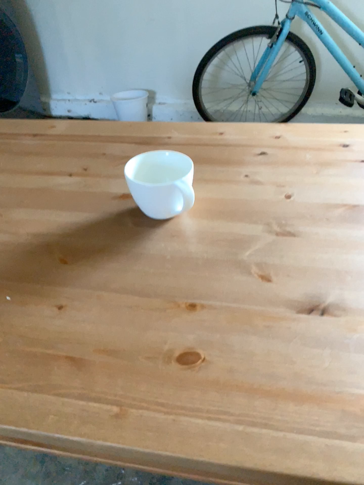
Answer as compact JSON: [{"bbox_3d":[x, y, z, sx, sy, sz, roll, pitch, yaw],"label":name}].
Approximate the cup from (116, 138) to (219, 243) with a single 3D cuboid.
[{"bbox_3d":[-0.020,-0.087,0.597,0.131,0.100,0.090,29,51,34],"label":"cup"}]
